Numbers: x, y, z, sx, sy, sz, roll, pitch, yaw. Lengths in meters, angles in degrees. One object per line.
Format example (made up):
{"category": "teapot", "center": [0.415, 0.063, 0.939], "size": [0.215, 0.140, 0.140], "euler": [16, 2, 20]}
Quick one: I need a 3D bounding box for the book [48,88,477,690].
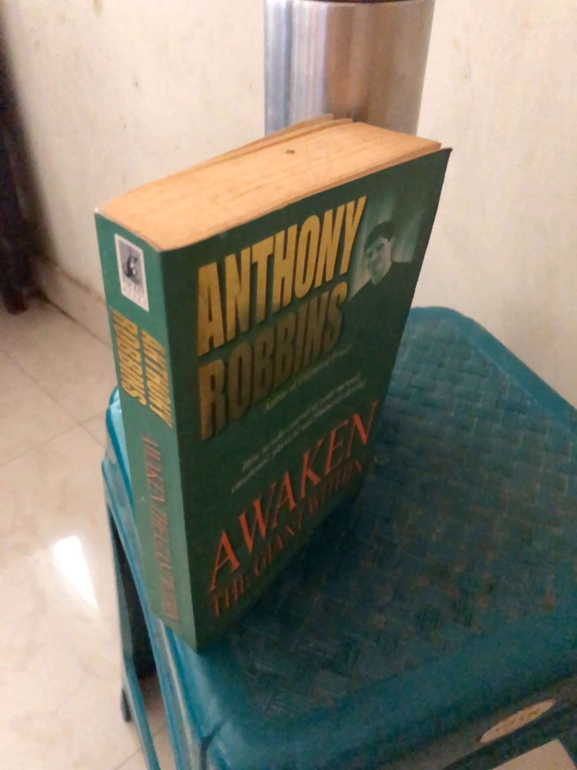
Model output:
{"category": "book", "center": [-0.001, 0.006, 0.259], "size": [0.050, 0.199, 0.140], "euler": [29, 47, 28]}
